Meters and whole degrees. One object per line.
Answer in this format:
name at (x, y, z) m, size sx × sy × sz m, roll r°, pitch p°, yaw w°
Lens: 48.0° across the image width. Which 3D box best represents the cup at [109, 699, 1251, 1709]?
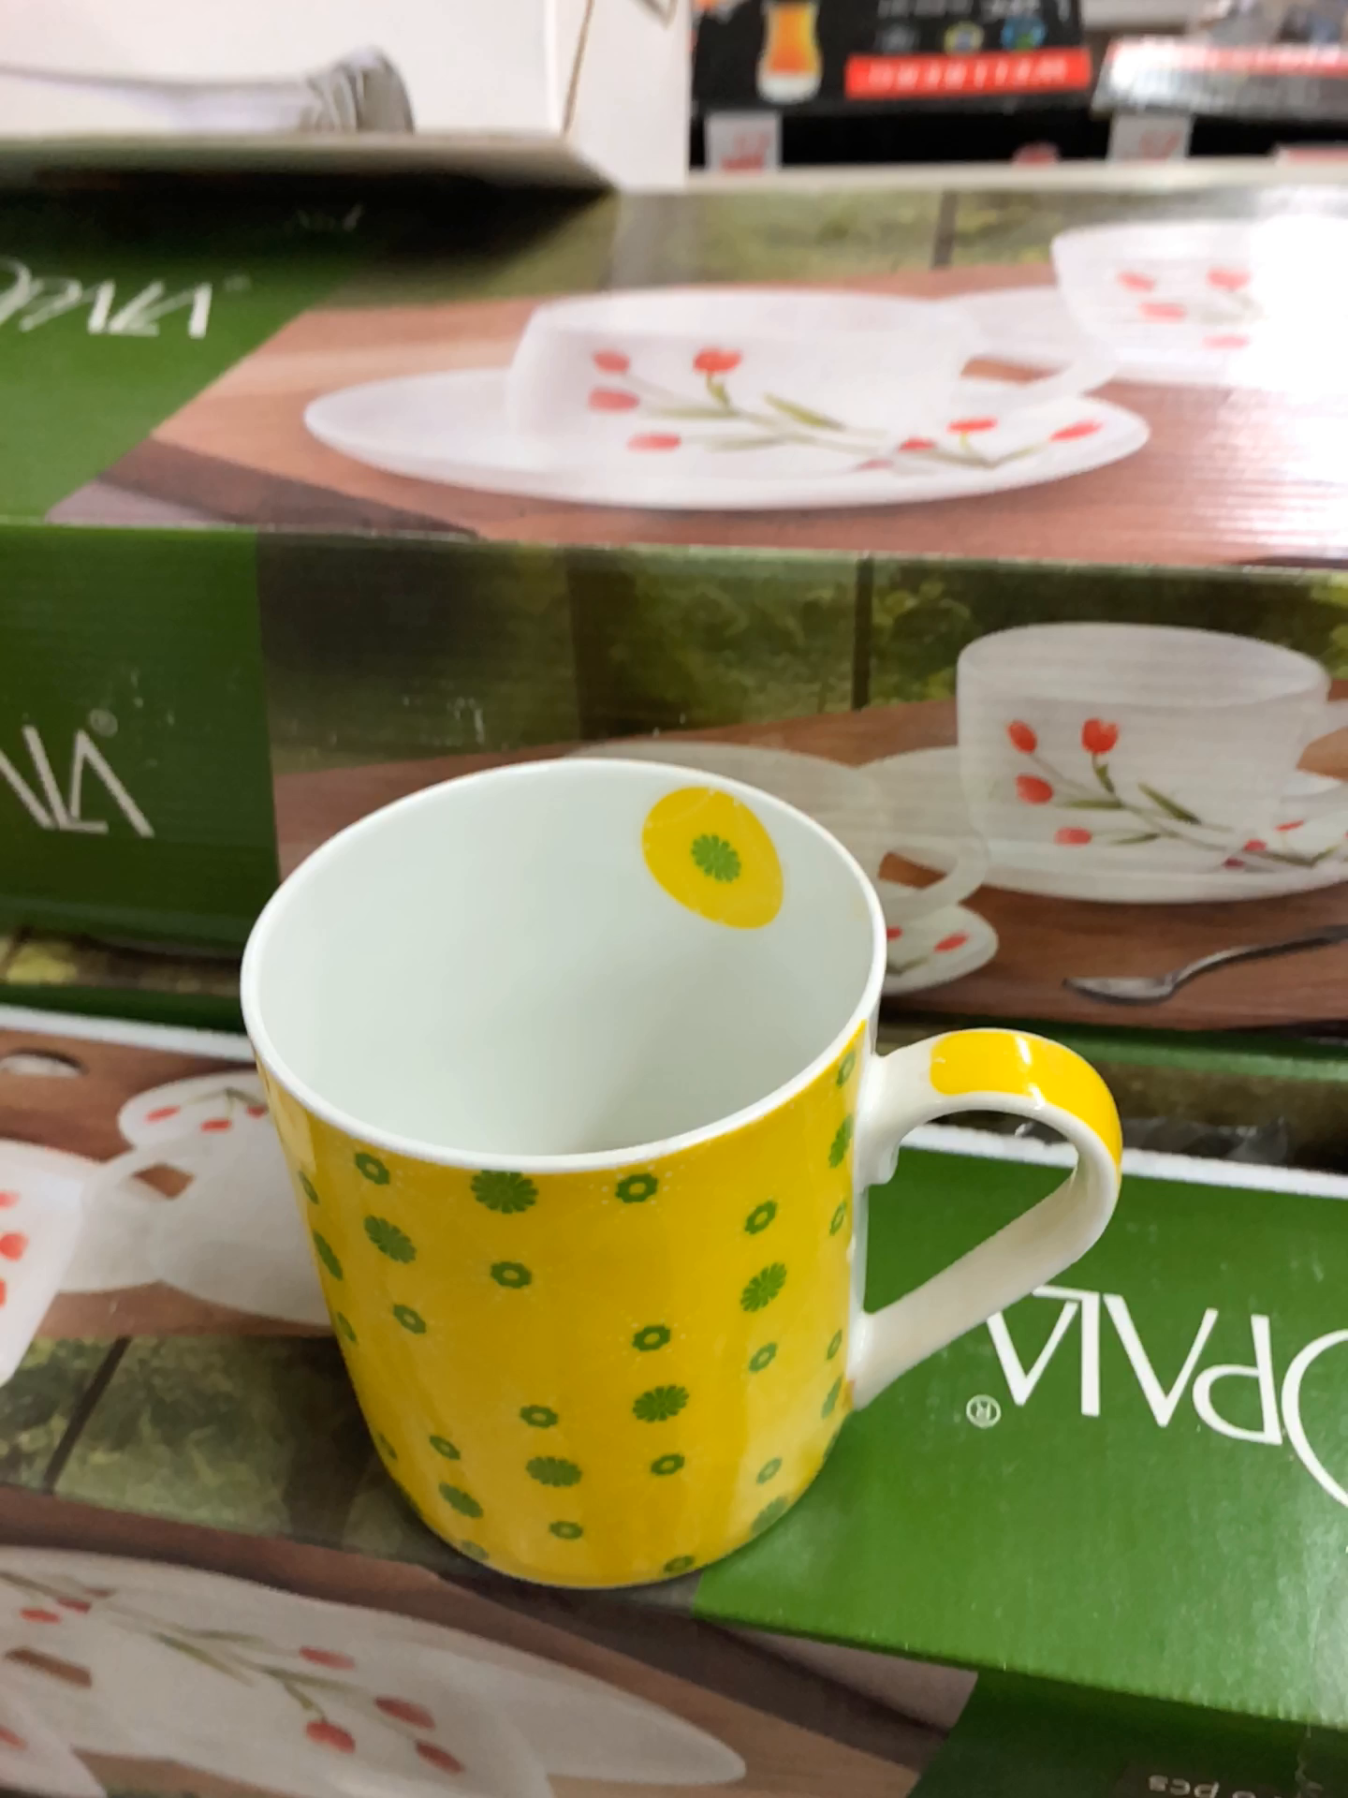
cup at (0.006, 0.036, 0.201) m, size 0.110 × 0.090 × 0.080 m, roll 5°, pitch 37°, yaw 10°
